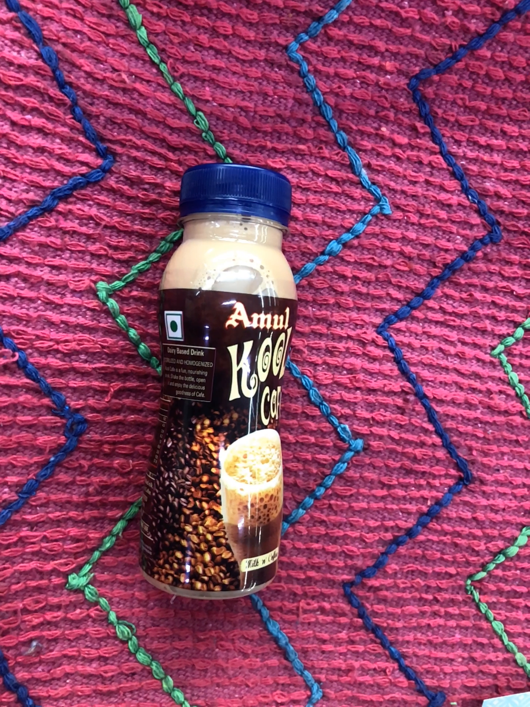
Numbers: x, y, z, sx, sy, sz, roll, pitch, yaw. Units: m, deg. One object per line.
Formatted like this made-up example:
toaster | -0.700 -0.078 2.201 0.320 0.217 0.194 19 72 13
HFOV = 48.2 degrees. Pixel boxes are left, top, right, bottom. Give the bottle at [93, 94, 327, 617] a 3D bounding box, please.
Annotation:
bottle | -0.019 0.000 0.208 0.050 0.060 0.150 1 91 -56
